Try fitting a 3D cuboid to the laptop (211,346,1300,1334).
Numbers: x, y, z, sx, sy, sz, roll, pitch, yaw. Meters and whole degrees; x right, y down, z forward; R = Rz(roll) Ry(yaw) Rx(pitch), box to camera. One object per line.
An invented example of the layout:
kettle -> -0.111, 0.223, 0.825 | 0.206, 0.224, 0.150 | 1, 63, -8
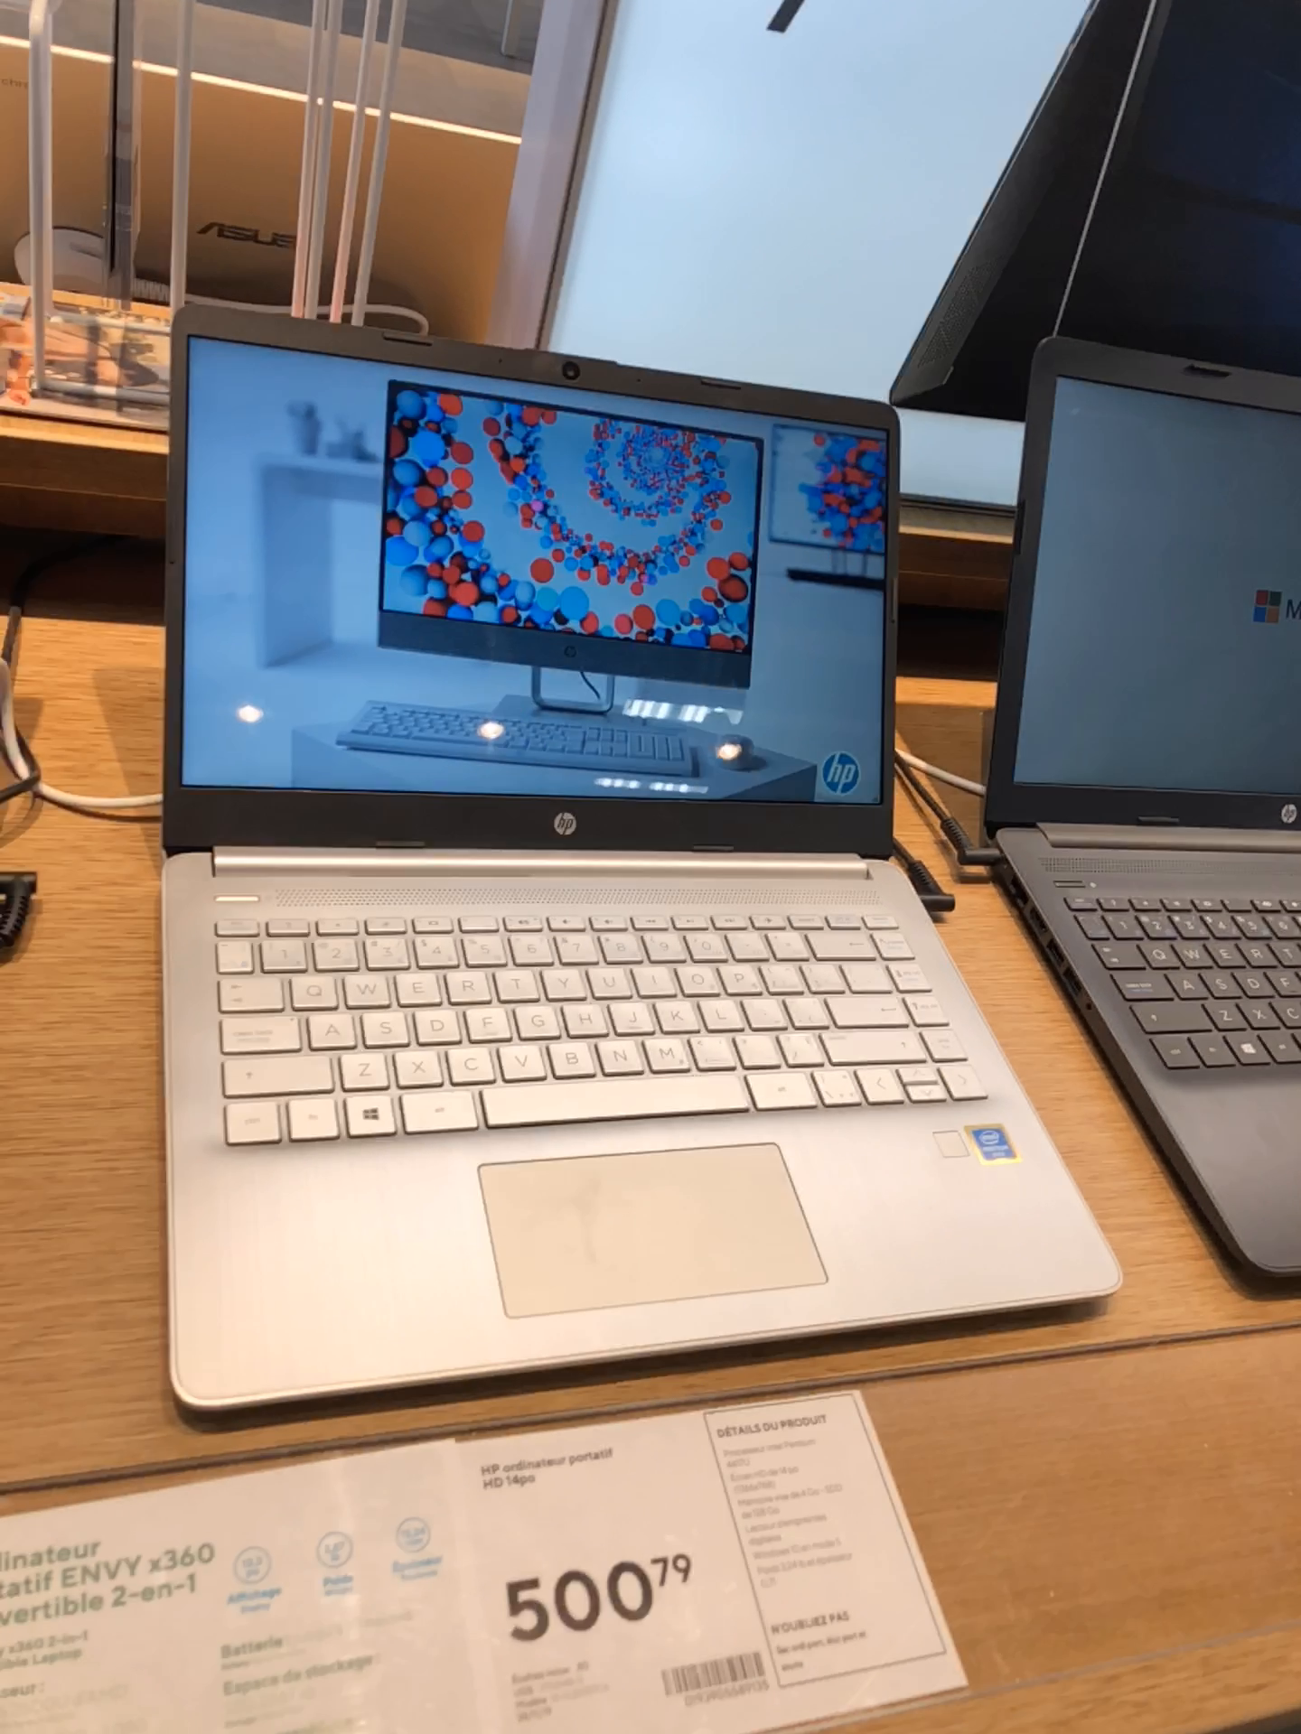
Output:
laptop -> -0.001, -0.036, 0.548 | 0.308, 0.167, 0.347 | 0, 41, -18
